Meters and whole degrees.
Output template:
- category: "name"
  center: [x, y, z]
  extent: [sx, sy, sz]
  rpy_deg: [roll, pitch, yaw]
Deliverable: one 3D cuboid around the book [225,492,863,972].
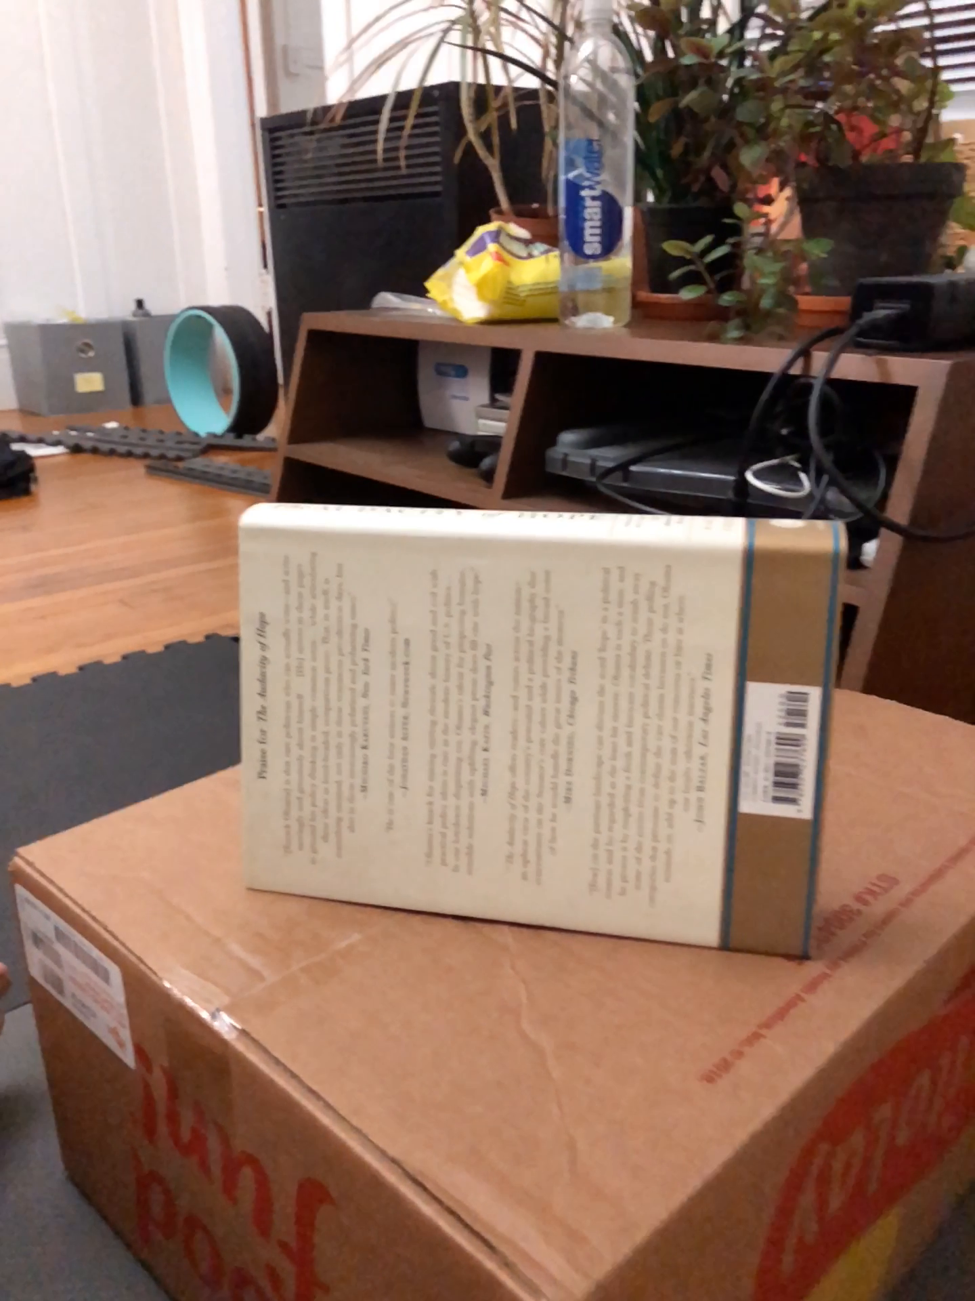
- category: "book"
  center: [0.017, 0.025, 0.457]
  extent: [0.250, 0.170, 0.060]
  rpy_deg: [5, 10, 13]
